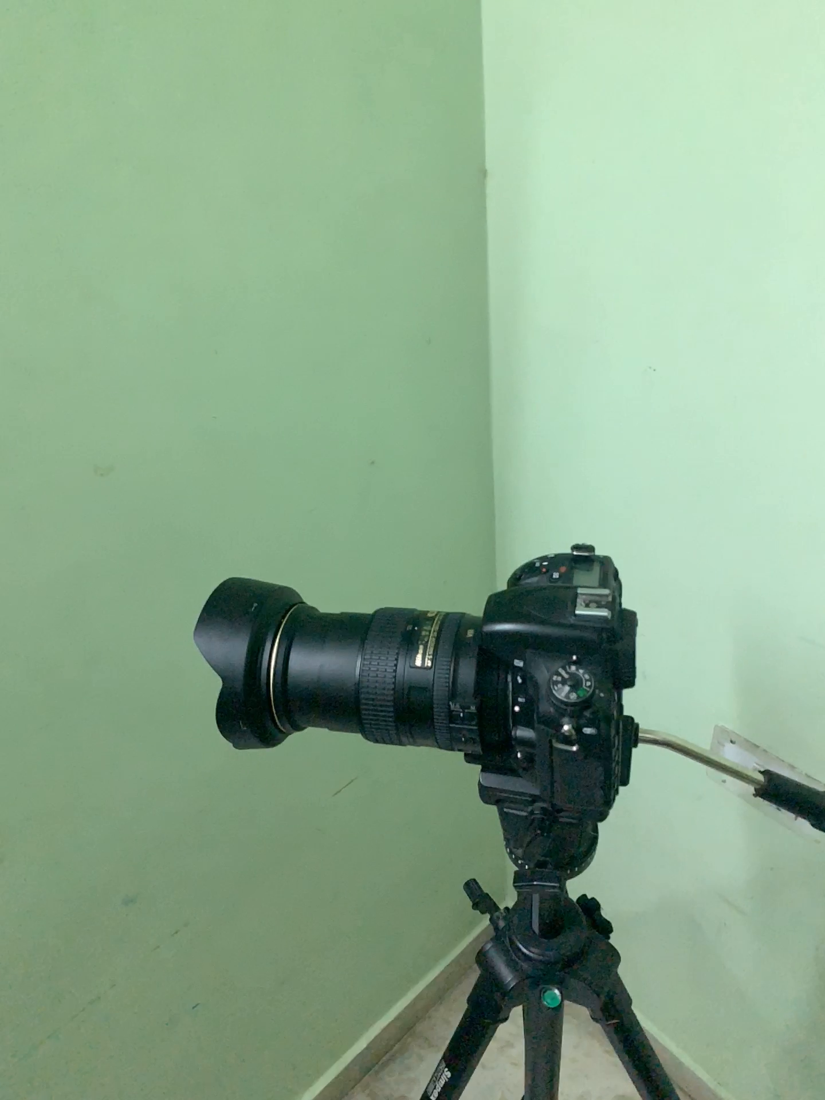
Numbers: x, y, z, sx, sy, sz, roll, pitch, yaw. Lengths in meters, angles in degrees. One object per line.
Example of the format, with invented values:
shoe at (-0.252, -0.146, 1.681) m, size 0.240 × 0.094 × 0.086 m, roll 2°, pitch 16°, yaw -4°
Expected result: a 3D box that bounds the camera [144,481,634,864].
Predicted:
camera at (0.002, 0.065, 0.524) m, size 0.250 × 0.131 × 0.164 m, roll 4°, pitch 39°, yaw 14°
